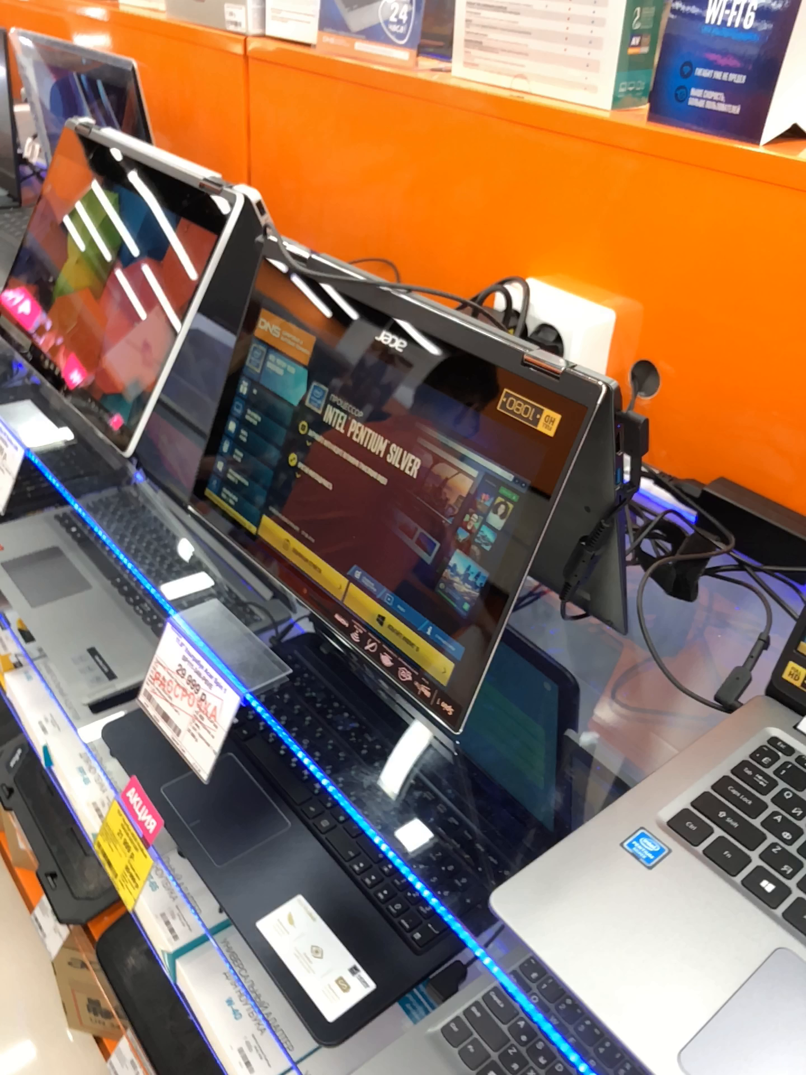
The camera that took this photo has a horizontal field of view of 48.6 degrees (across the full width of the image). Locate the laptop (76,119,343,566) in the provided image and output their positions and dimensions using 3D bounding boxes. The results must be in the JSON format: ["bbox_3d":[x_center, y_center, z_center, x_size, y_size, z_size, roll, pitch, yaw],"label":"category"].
[{"bbox_3d":[-0.191,-0.185,0.887,0.300,0.148,0.182,36,7,38],"label":"laptop"}]

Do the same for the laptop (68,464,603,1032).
[{"bbox_3d":[-0.072,0.137,0.743,0.239,0.222,0.361,-20,40,-35],"label":"laptop"}]

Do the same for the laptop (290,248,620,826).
[{"bbox_3d":[0.024,0.008,0.637,0.278,0.142,0.181,37,6,42],"label":"laptop"}]

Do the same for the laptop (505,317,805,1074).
[{"bbox_3d":[0.268,0.107,0.304,0.273,0.209,0.351,-23,43,-36],"label":"laptop"}]

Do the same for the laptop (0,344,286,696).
[{"bbox_3d":[-0.333,-0.041,1.000,0.223,0.202,0.364,-23,41,-32],"label":"laptop"}]
